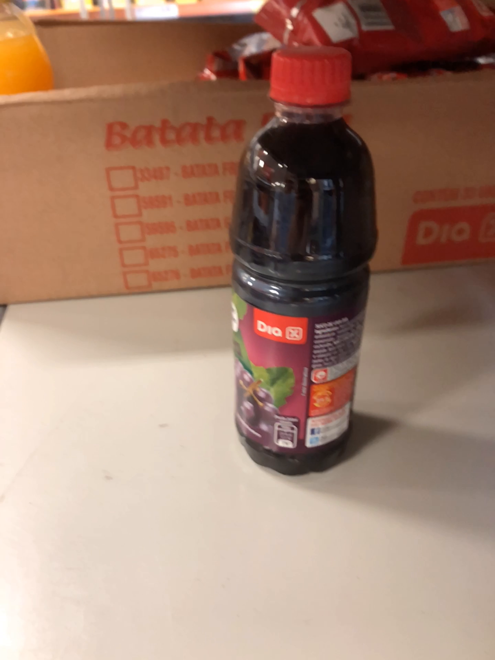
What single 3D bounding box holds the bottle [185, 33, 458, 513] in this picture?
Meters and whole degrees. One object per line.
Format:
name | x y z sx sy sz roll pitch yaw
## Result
bottle | 0.028 -0.020 0.261 0.070 0.198 0.081 -16 36 -17
